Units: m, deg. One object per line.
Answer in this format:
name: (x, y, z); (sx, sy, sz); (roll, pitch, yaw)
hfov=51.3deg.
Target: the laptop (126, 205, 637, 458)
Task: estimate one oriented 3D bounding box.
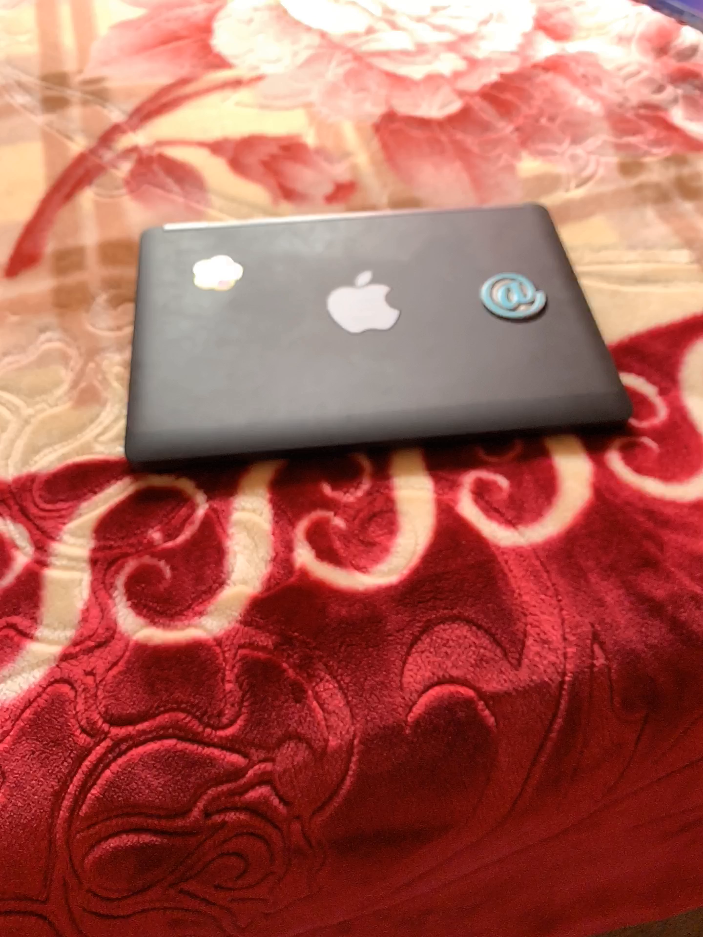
laptop: (0.008, -0.103, 0.486); (0.299, 0.001, 0.209); (-5, 55, -3)
